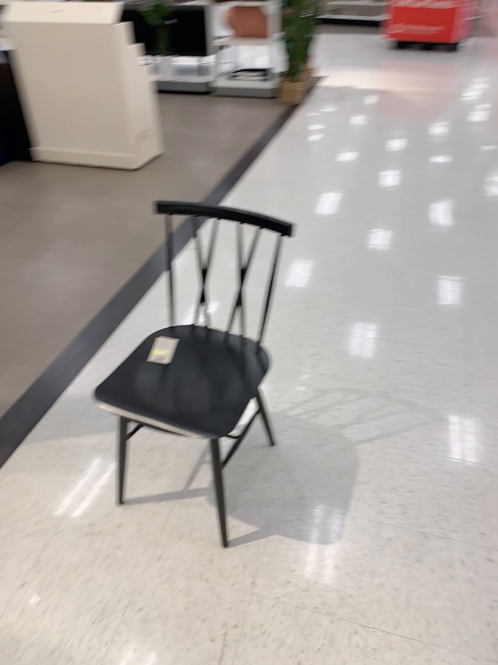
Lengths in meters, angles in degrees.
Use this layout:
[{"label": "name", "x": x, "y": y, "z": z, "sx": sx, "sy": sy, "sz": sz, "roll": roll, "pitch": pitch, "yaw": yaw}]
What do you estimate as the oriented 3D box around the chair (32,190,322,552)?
[{"label": "chair", "x": -0.126, "y": 0.087, "z": 1.386, "sx": 0.481, "sy": 0.736, "sz": 0.522, "roll": 12, "pitch": 38, "yaw": 17}]
